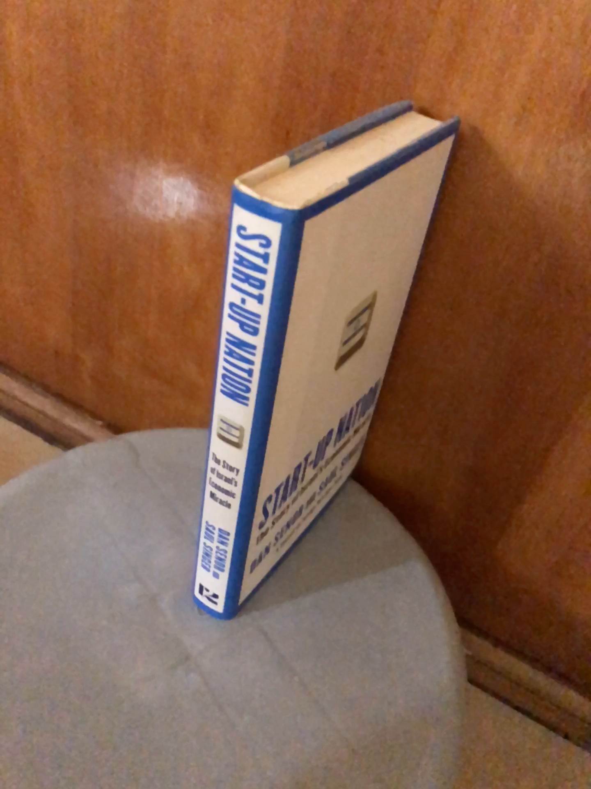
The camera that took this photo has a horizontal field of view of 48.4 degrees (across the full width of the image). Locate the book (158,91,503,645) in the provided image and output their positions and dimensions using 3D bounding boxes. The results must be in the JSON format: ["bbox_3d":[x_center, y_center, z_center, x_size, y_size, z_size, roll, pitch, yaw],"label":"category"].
[{"bbox_3d":[0.017,-0.019,0.338,0.040,0.229,0.201,28,39,22],"label":"book"}]
